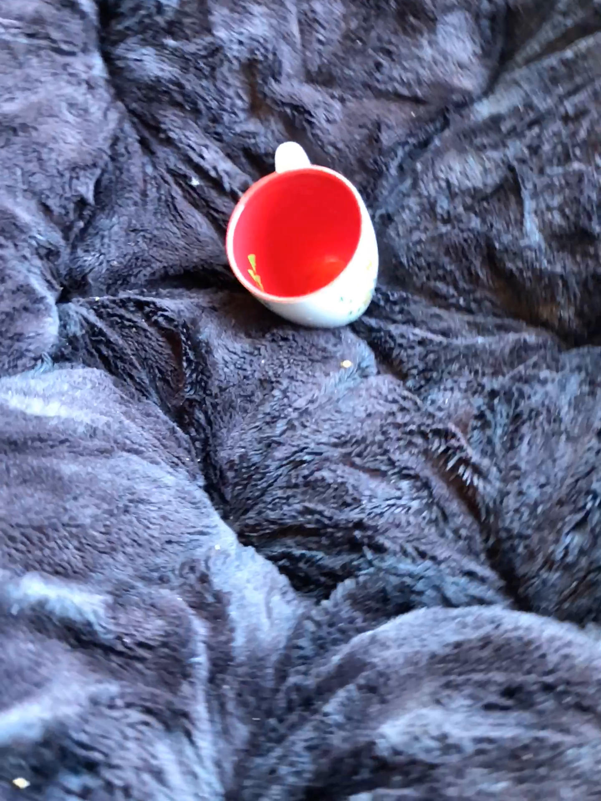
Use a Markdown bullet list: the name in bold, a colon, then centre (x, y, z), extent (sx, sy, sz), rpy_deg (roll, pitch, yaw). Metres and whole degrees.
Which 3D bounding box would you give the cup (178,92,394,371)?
- **cup**: centre (-0.007, -0.117, 0.492), extent (0.100, 0.110, 0.140), rpy_deg (-20, 73, 8)
